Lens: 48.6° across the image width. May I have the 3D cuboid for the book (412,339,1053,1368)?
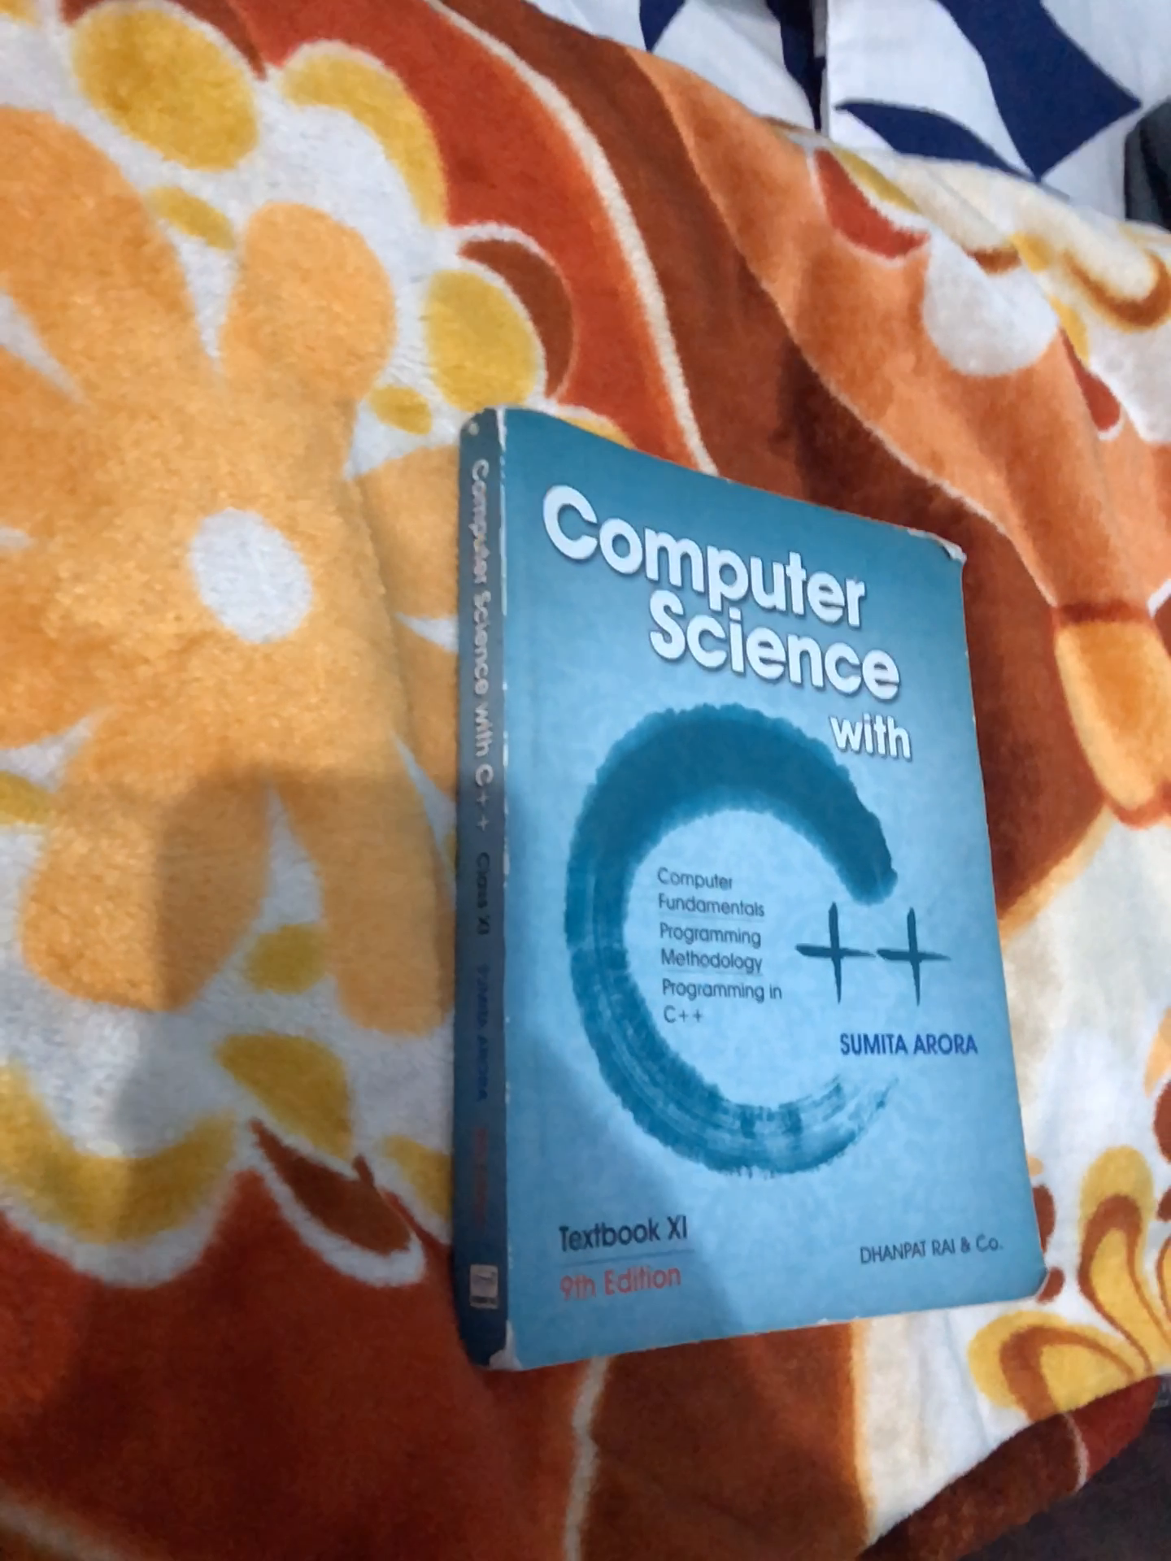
[{"bbox_3d":[0.052,0.024,0.410,0.211,0.040,0.270,9,73,-34],"label":"book"}]
